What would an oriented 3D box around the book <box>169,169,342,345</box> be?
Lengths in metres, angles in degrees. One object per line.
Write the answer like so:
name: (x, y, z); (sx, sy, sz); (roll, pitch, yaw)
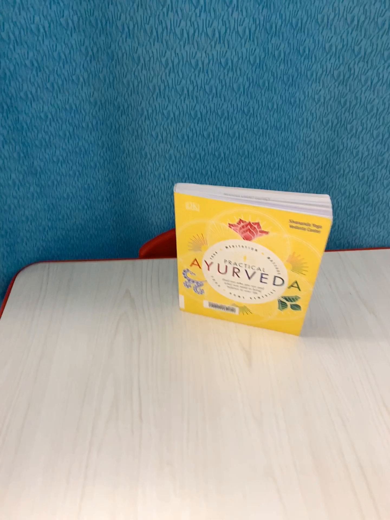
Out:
book: (0.075, 0.006, 0.588); (0.210, 0.259, 0.050); (10, 43, 10)
